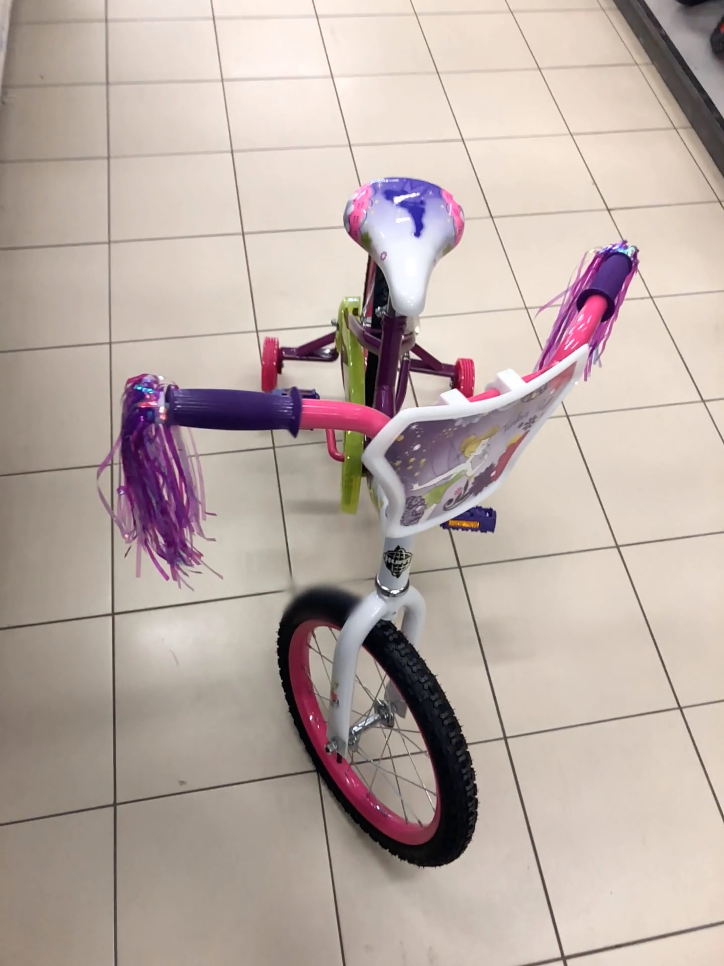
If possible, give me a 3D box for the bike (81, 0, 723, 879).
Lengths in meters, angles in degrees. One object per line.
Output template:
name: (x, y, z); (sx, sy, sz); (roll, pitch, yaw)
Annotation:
bike: (0.075, -0.118, 1.067); (0.595, 0.810, 1.070); (-1, 58, -6)
